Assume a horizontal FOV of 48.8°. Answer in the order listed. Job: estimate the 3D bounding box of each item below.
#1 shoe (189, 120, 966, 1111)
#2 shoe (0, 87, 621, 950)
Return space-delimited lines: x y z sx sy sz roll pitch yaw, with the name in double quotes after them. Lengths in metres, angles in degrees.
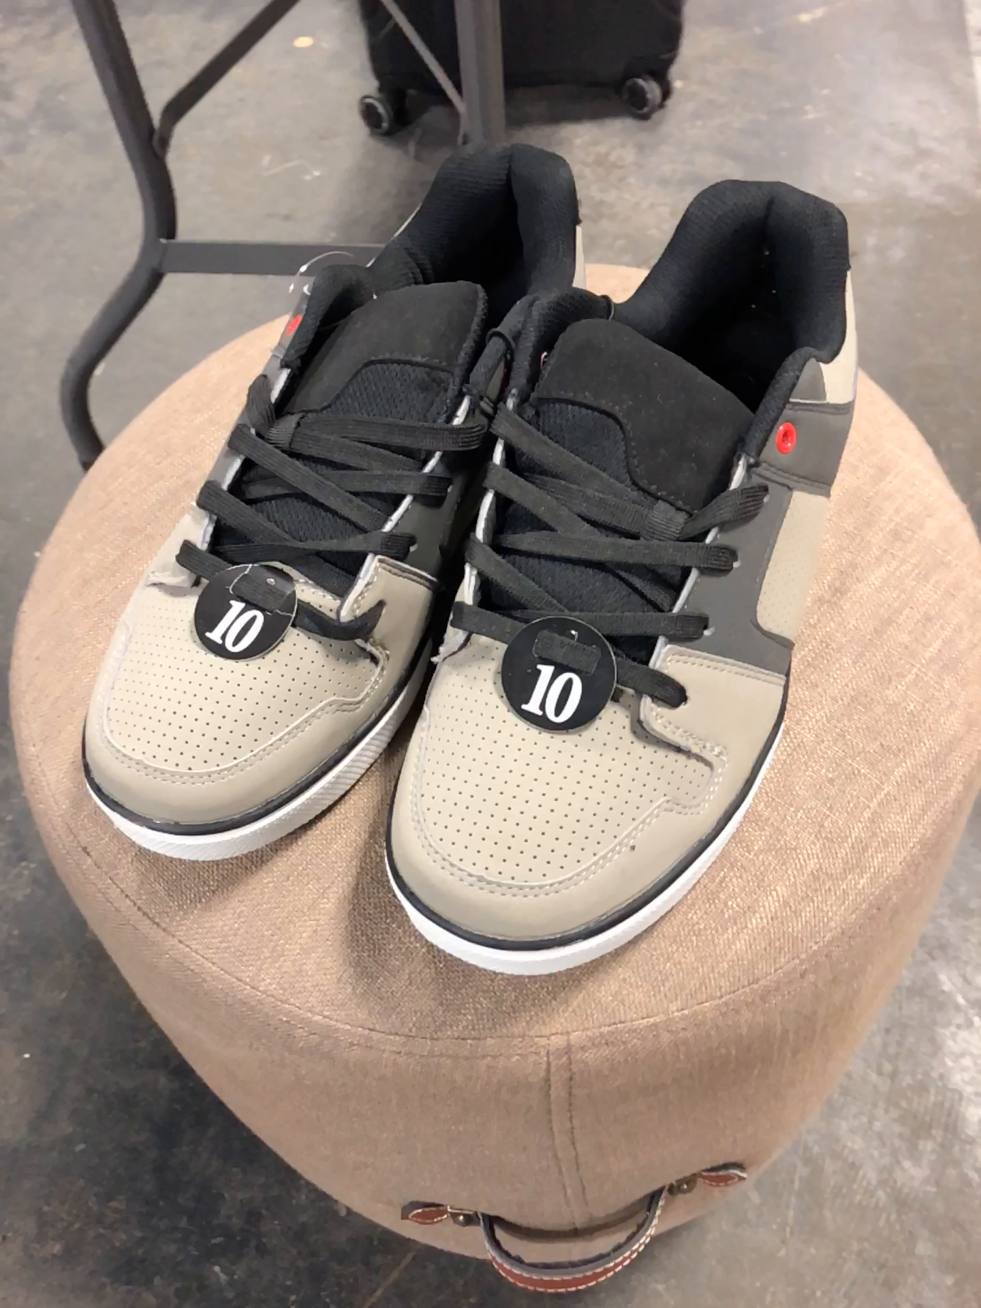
0.051 -0.039 0.354 0.120 0.099 0.312 18 57 17 "shoe"
-0.064 -0.061 0.369 0.120 0.119 0.261 20 58 19 "shoe"
